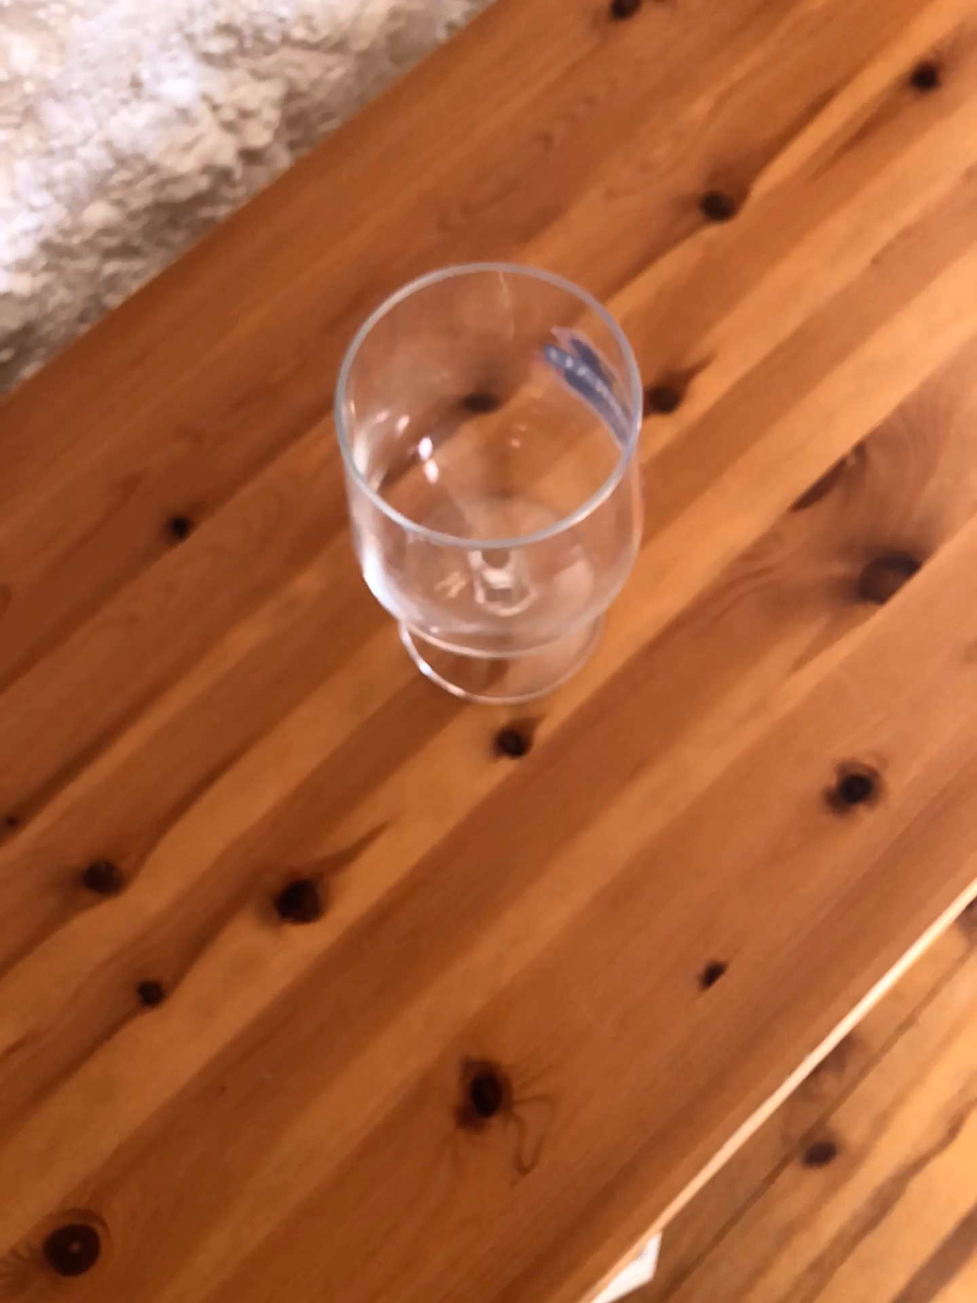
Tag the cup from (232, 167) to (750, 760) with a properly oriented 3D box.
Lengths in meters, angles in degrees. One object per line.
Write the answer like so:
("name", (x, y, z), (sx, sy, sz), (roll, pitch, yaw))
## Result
("cup", (0.002, -0.035, 0.294), (0.077, 0.143, 0.079), (-1, 75, 2))
